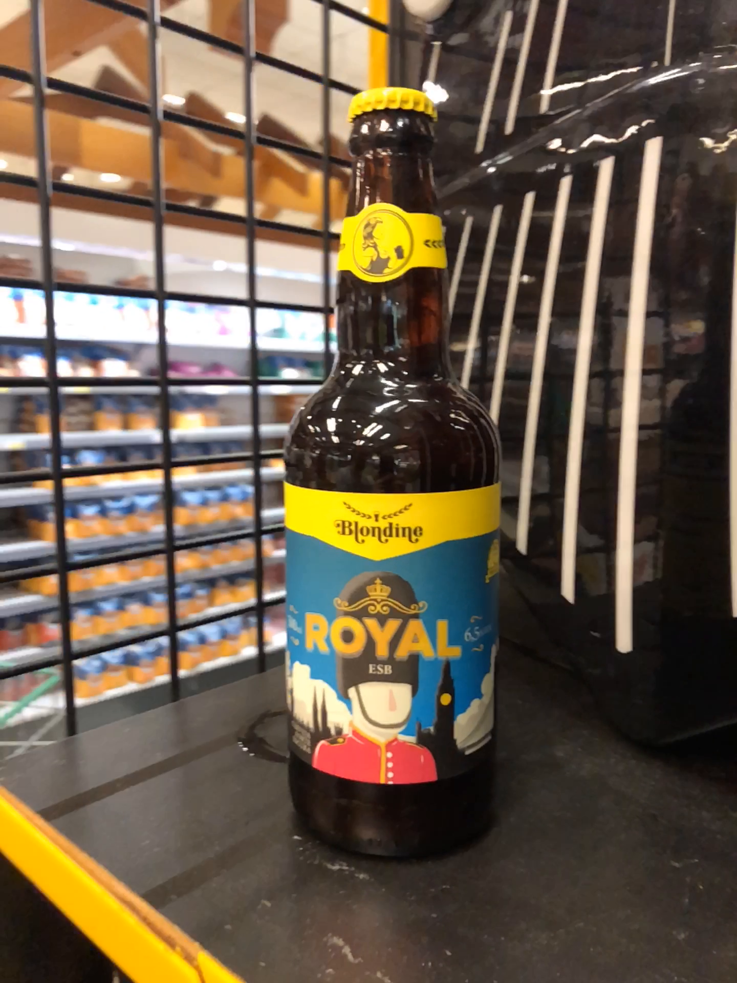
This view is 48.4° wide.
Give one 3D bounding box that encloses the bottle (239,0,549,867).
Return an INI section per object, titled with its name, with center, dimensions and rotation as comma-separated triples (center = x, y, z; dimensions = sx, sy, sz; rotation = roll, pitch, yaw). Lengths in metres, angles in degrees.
[bottle]
center = 0.009, -0.018, 0.259
dimensions = 0.080, 0.239, 0.070
rotation = 2, 7, 9
